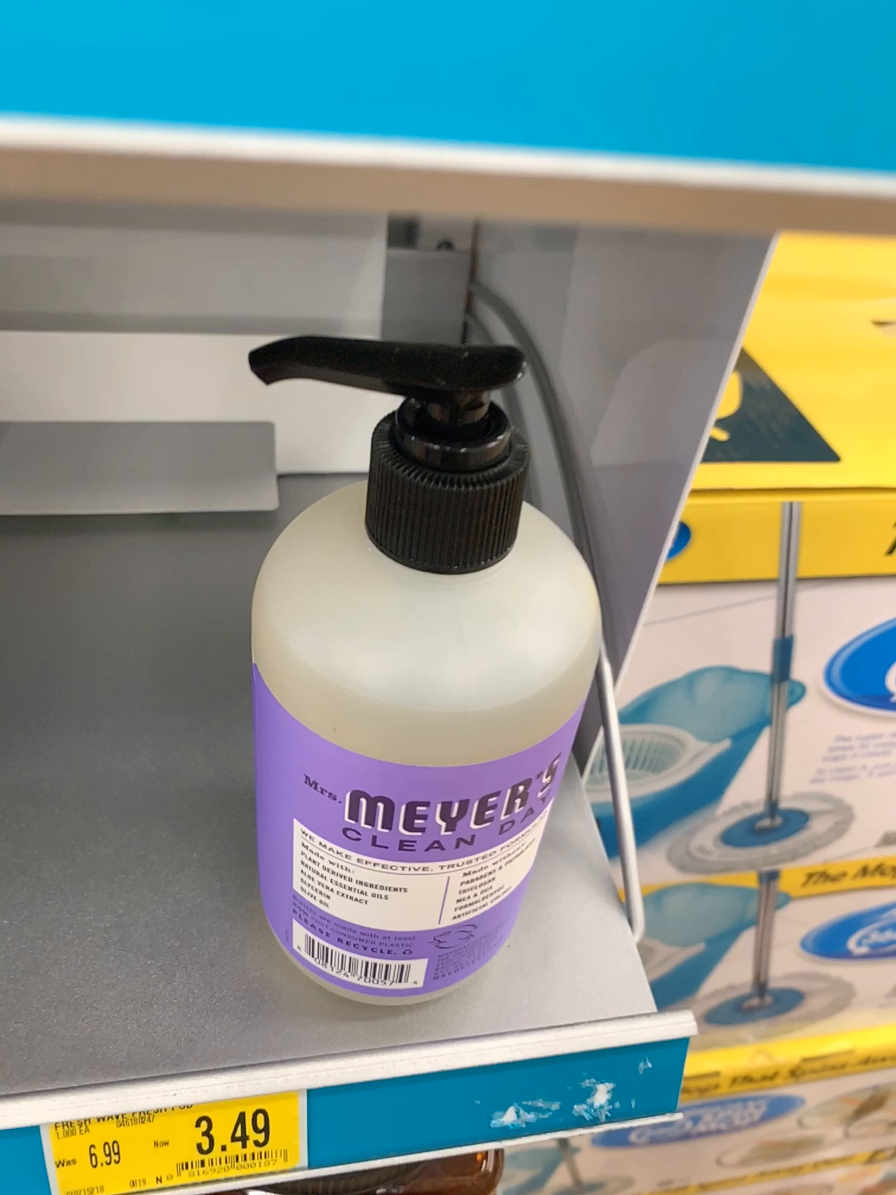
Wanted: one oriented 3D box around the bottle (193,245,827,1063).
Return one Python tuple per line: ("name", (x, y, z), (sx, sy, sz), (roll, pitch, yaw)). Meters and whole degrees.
("bottle", (-0.003, 0.019, 0.198), (0.080, 0.159, 0.070), (-8, 44, -17))
